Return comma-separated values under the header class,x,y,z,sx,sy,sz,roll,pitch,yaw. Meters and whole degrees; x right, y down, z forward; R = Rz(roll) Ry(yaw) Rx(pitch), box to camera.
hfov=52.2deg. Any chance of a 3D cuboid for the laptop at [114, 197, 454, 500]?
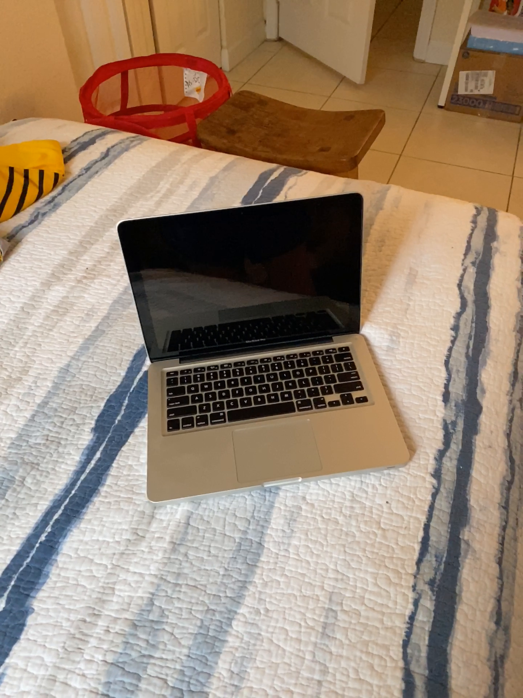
class,x,y,z,sx,sy,sz,roll,pitch,yaw
laptop,0.003,-0.011,0.662,0.318,0.199,0.279,-8,46,-5
